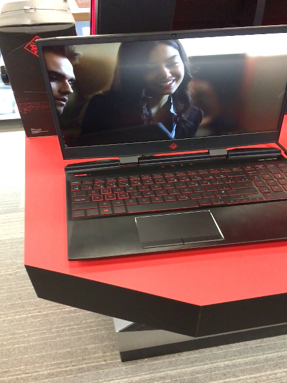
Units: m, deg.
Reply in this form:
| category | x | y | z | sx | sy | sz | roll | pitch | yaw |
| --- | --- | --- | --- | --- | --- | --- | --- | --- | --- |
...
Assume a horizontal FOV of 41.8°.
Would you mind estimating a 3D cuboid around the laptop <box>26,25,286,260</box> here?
| category | x | y | z | sx | sy | sz | roll | pitch | yaw |
| --- | --- | --- | --- | --- | --- | --- | --- | --- | --- |
| laptop | 0.064 | -0.079 | 0.537 | 0.379 | 0.224 | 0.239 | -6 | 42 | -5 |
